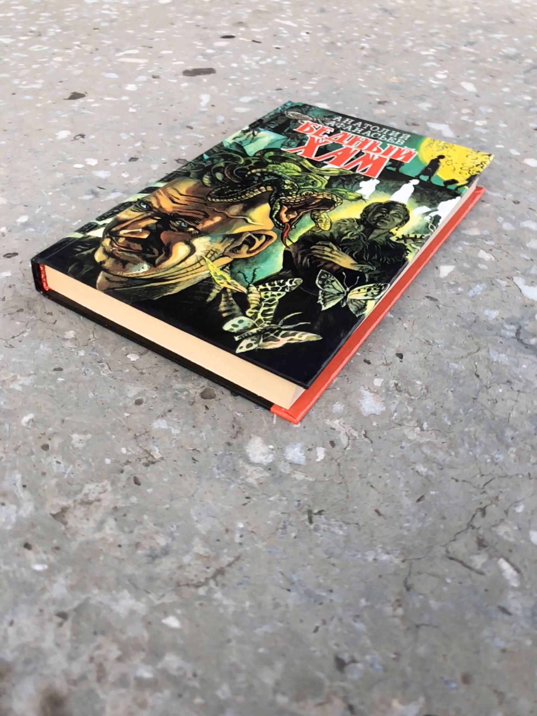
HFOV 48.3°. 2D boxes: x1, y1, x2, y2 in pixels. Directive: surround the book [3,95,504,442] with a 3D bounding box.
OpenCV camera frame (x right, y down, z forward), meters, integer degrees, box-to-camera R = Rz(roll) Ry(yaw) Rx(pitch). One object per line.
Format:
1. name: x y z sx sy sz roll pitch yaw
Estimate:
1. book: 0.007 -0.066 0.283 0.142 0.020 0.202 25 50 23
